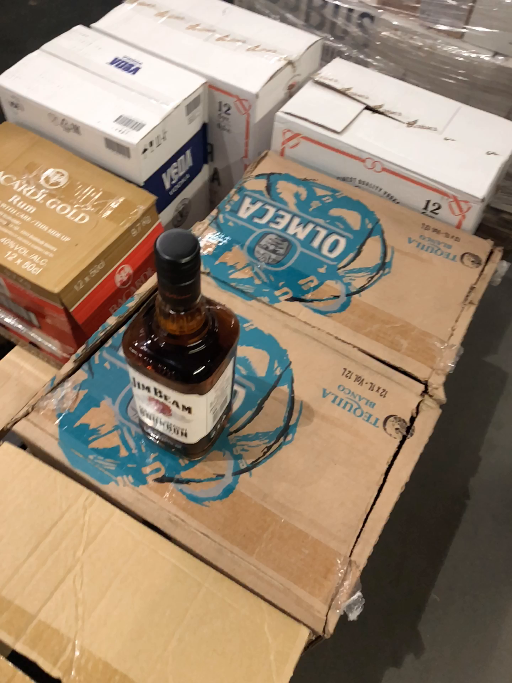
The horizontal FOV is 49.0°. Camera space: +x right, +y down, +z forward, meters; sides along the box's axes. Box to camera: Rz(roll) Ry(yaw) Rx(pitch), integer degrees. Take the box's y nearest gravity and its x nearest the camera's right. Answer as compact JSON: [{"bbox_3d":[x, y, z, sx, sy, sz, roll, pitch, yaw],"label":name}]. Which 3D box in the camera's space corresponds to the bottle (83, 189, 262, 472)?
[{"bbox_3d":[-0.063,0.010,0.490,0.091,0.263,0.081,26,58,13],"label":"bottle"}]
